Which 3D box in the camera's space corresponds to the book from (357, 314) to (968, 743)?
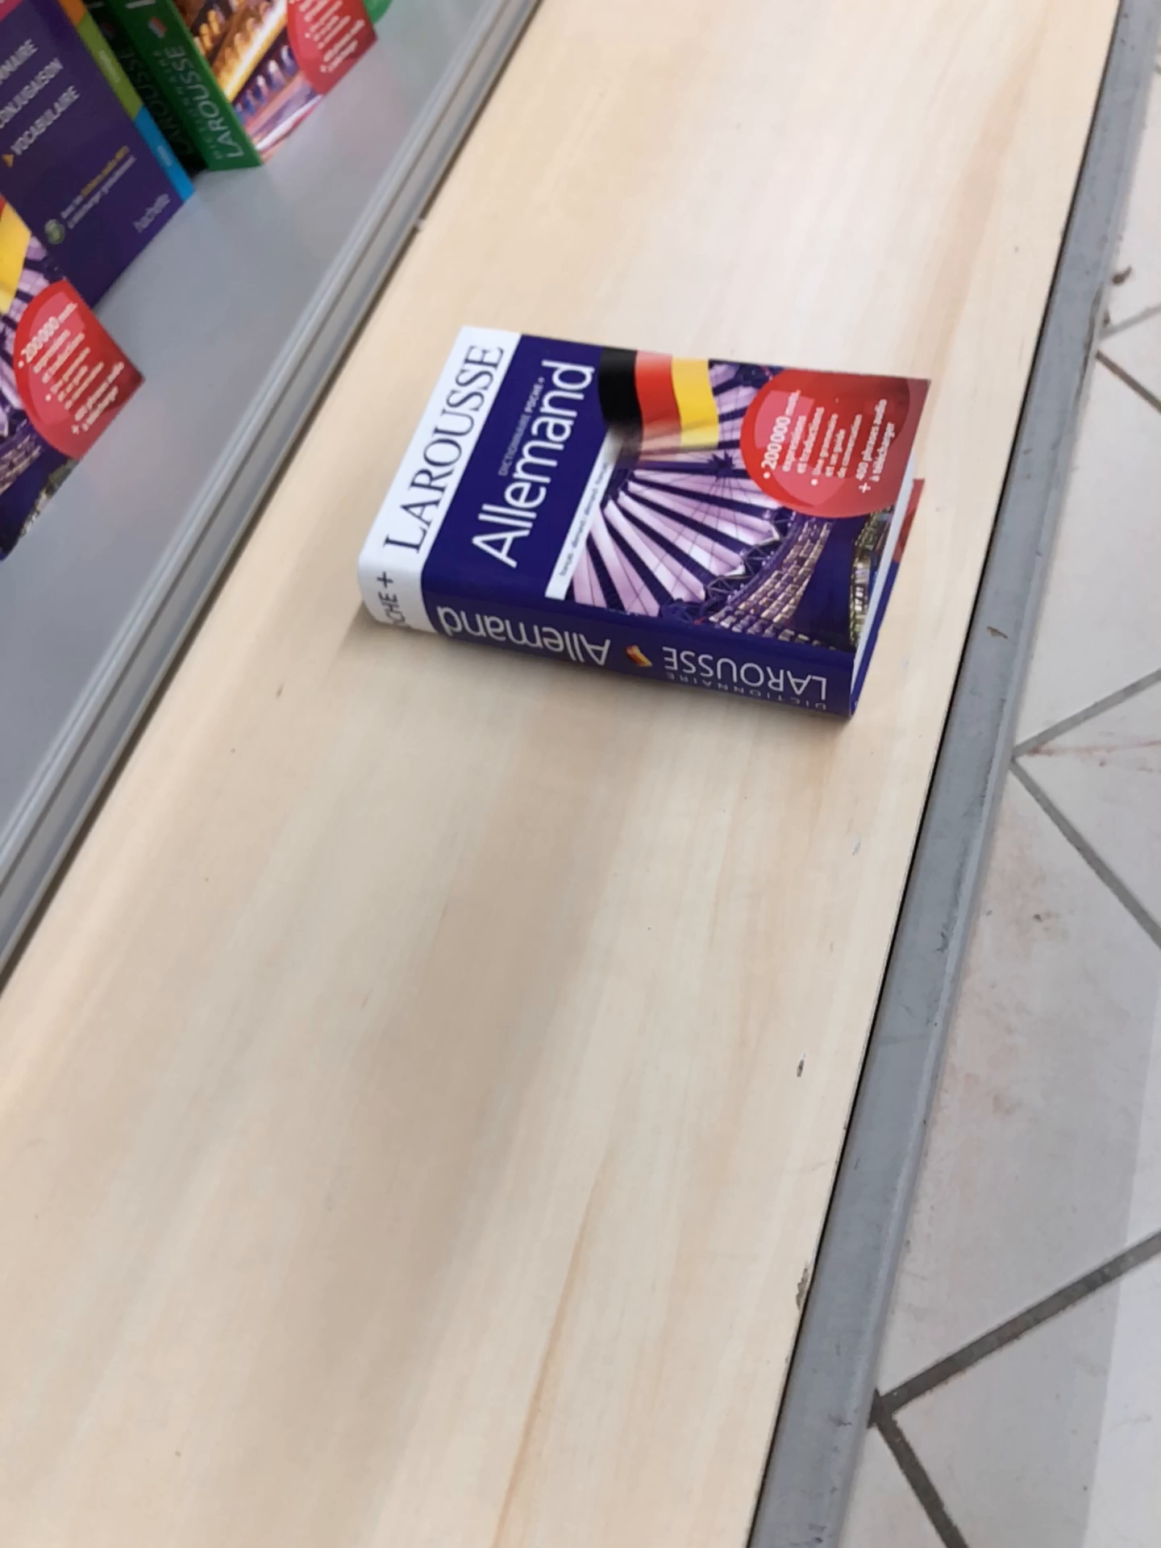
[{"bbox_3d":[0.032,-0.093,0.459,0.181,0.050,0.121,13,62,16],"label":"book"}]
